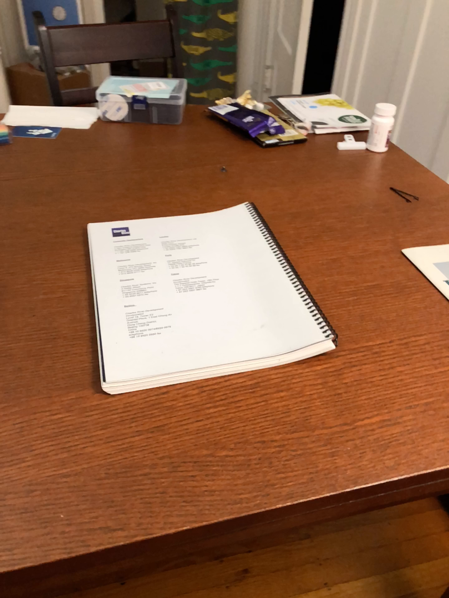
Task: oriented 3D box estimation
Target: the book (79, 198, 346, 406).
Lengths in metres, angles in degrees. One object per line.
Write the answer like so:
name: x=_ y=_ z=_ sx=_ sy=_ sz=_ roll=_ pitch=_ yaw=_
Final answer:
book: x=-0.037 y=-0.025 z=0.555 sx=0.230 sy=0.020 sz=0.302 roll=-8 pitch=40 yaw=-13
